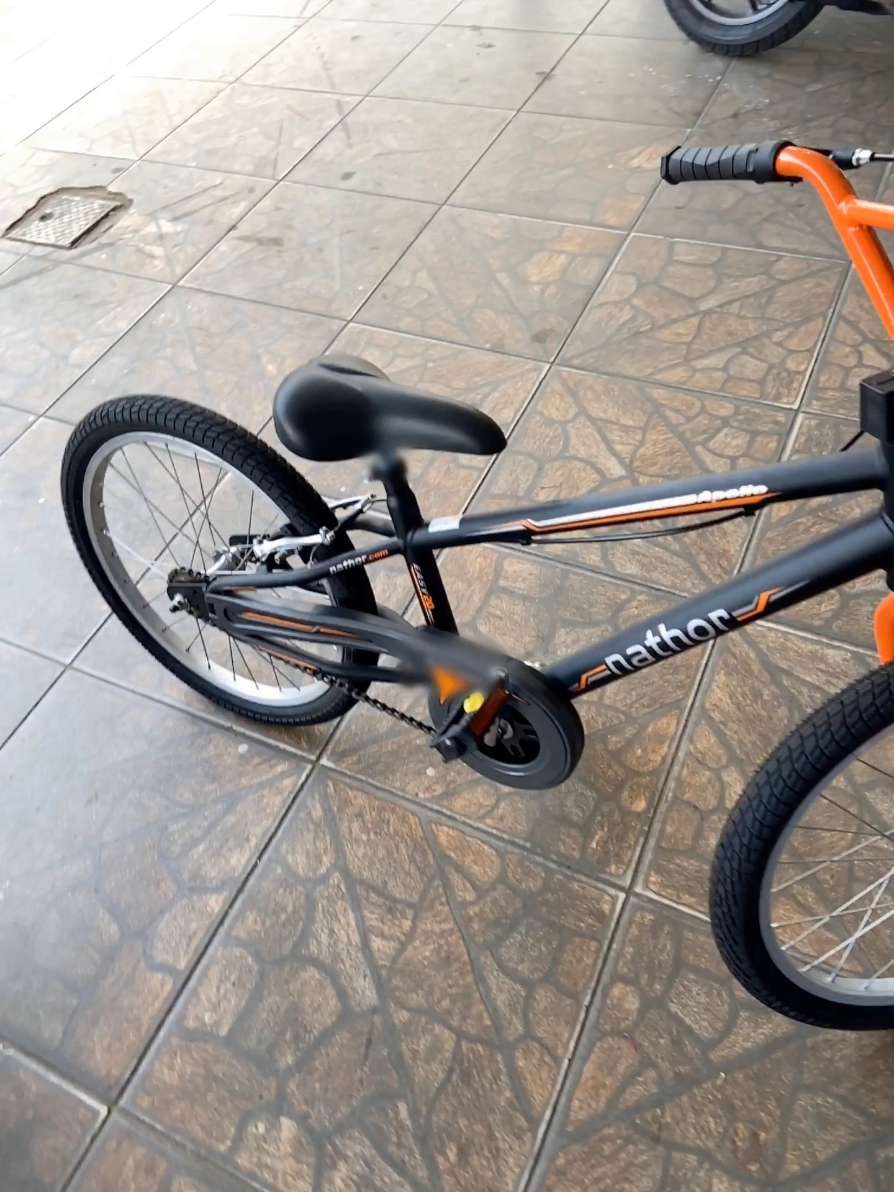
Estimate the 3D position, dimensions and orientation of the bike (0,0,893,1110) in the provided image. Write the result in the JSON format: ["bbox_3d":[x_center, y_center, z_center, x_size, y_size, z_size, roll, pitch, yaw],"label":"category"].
[{"bbox_3d":[0.104,-0.136,0.971,1.350,0.979,0.726,13,56,15],"label":"bike"}]
